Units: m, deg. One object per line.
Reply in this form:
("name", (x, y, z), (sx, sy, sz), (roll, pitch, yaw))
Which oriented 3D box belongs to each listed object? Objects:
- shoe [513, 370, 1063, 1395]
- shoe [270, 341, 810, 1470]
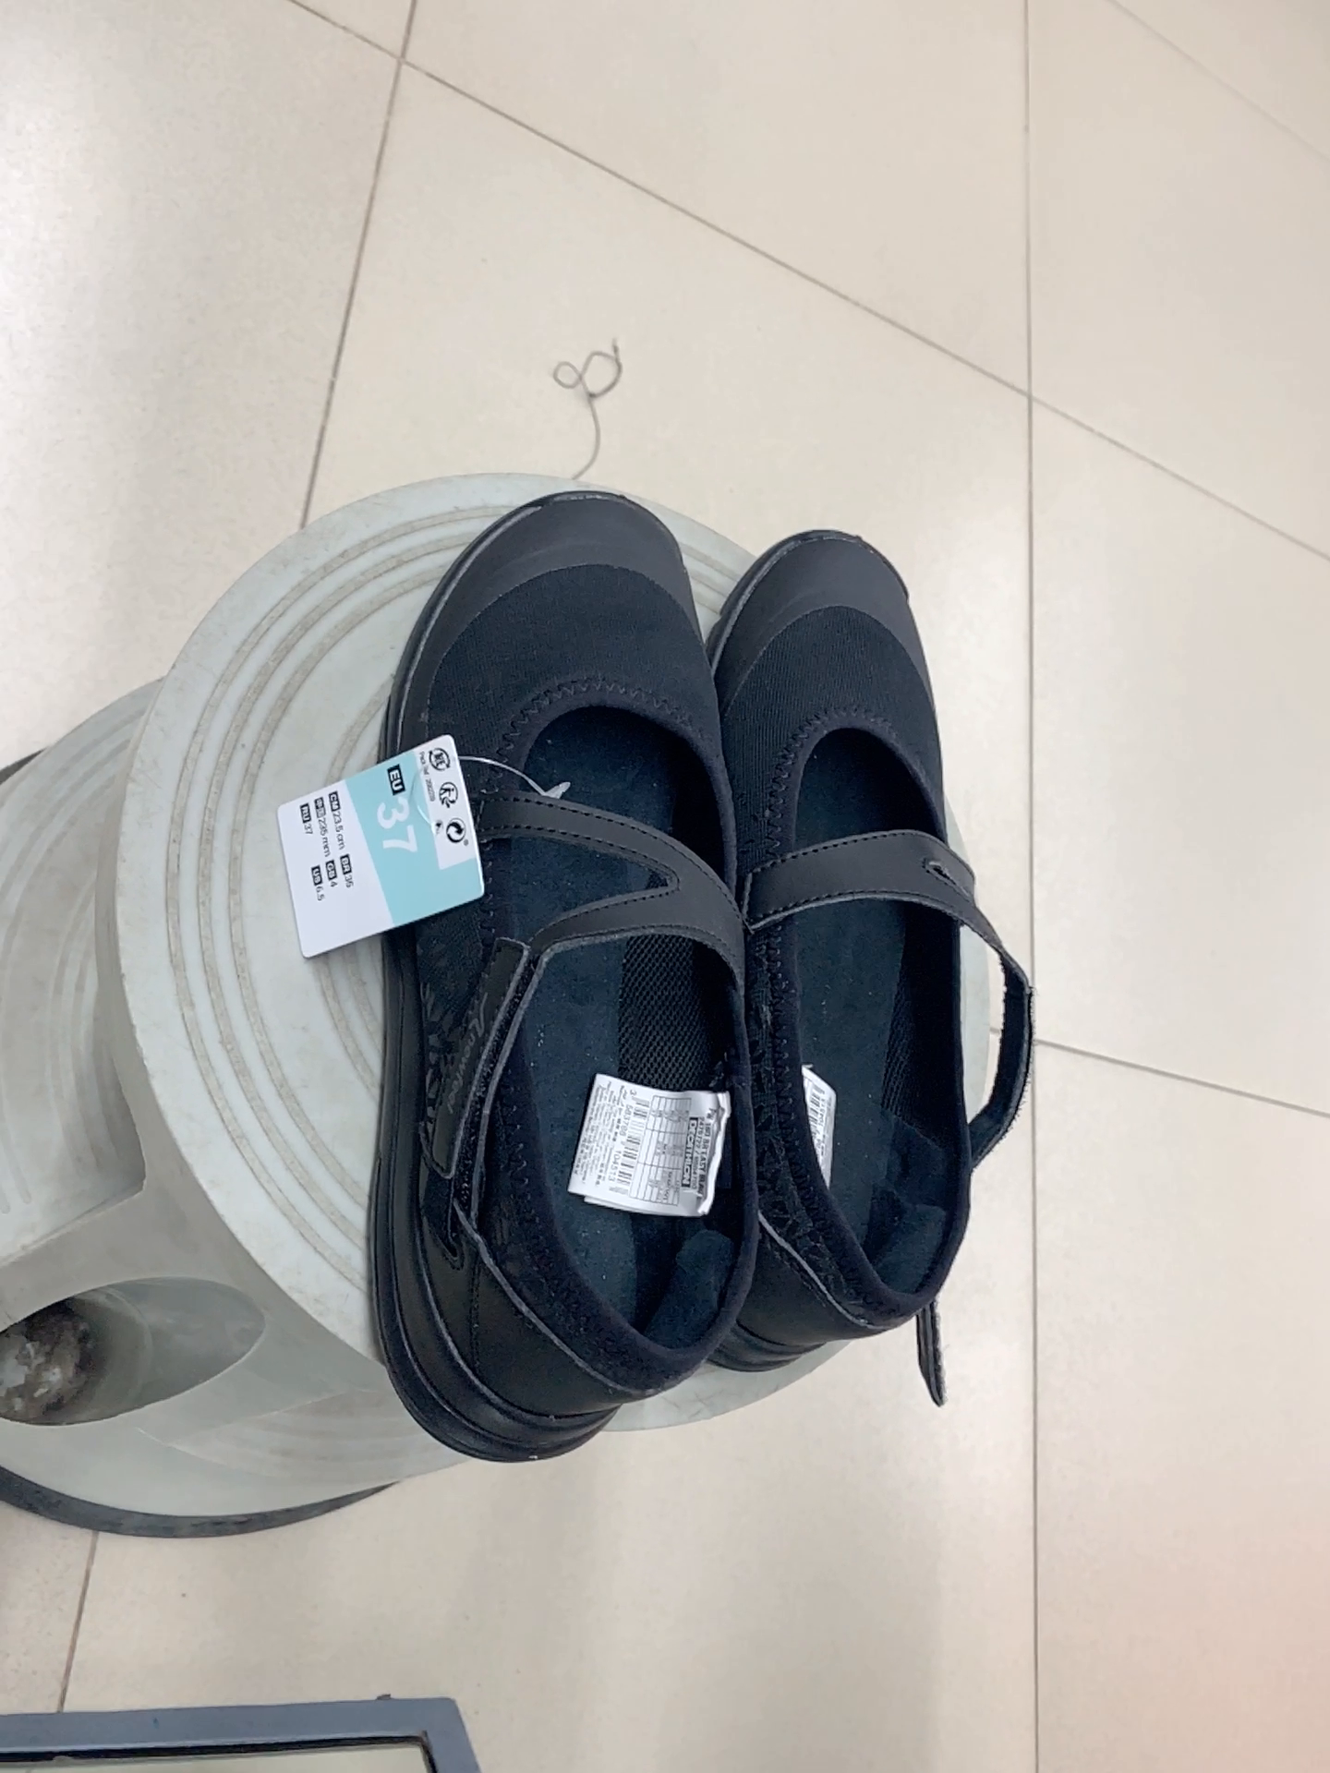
("shoe", (0.041, 0.000, 0.378), (0.100, 0.080, 0.250), (19, 66, -25))
("shoe", (-0.026, 0.007, 0.341), (0.090, 0.080, 0.250), (13, 69, -28))
